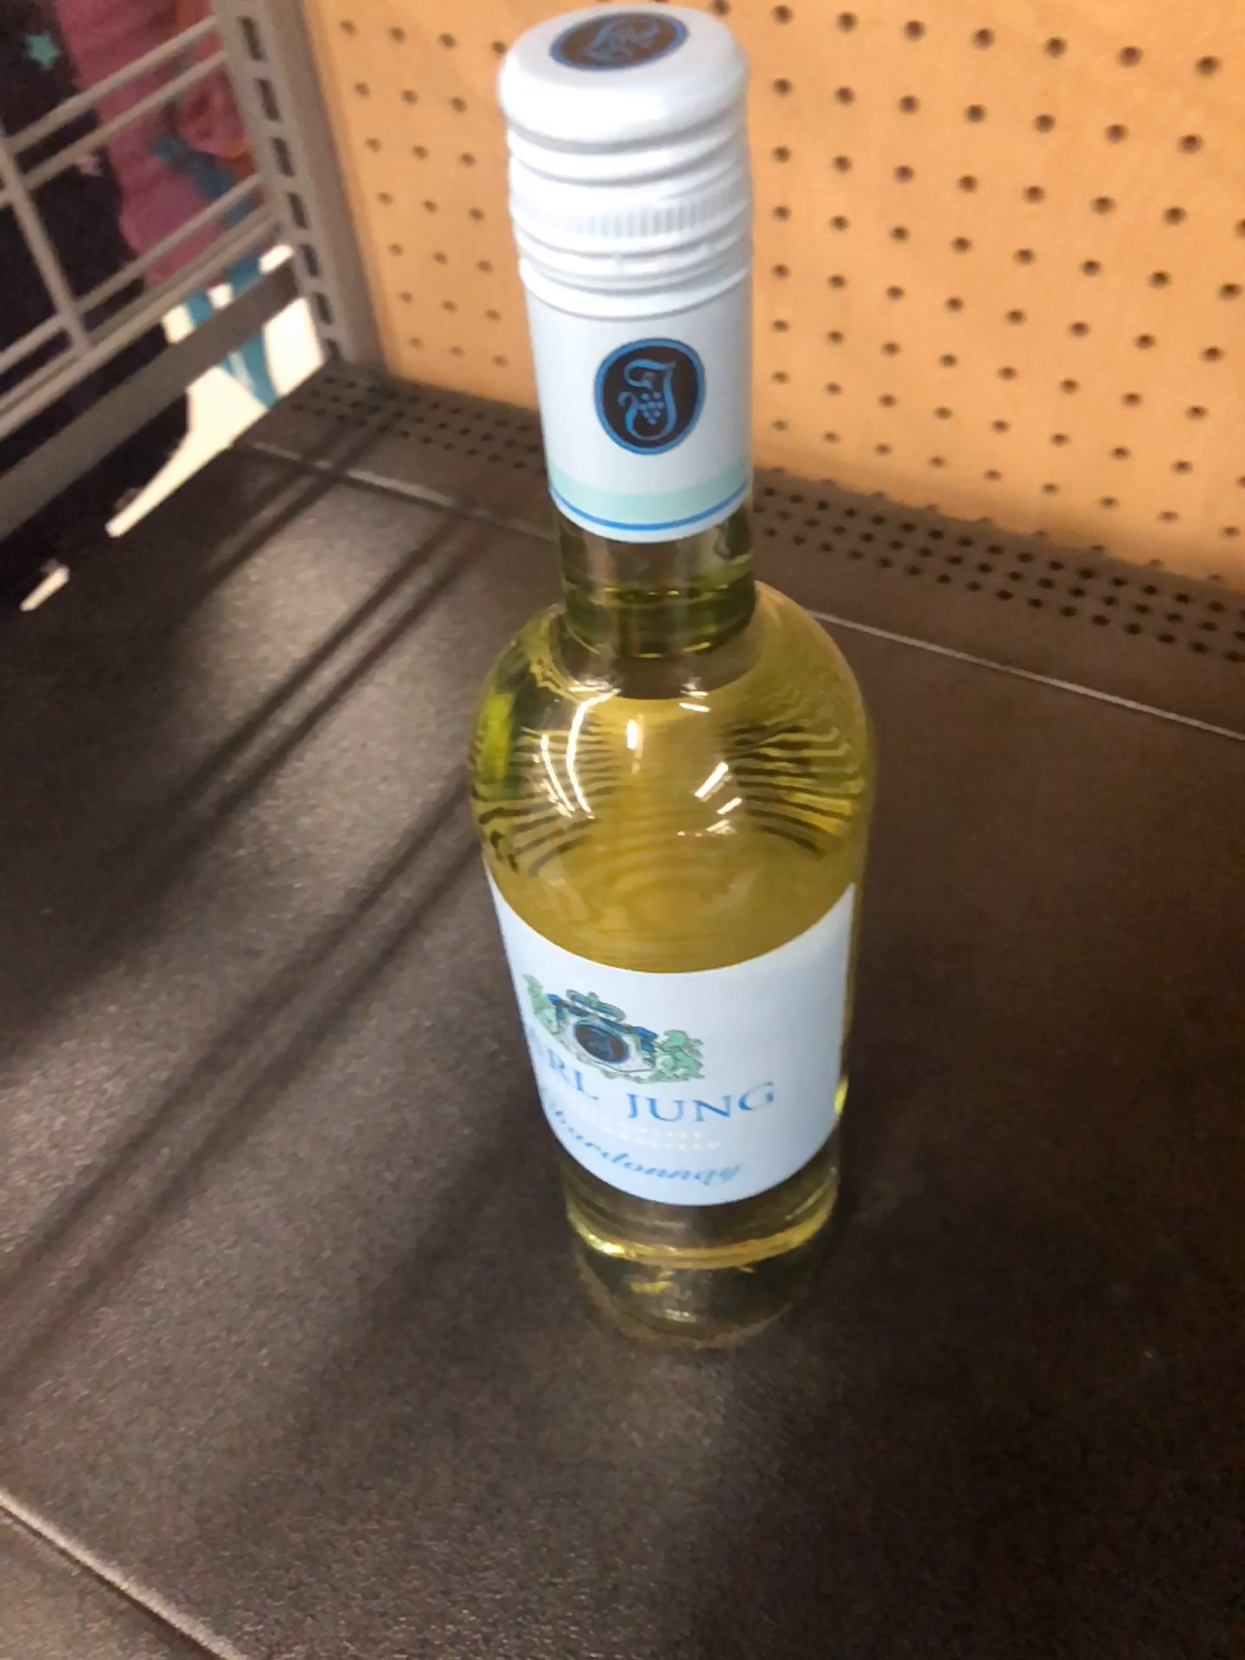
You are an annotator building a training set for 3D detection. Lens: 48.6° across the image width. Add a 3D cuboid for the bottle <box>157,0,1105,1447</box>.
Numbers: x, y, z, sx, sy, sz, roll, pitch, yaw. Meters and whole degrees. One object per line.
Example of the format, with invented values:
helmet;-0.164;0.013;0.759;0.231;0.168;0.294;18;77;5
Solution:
bottle;0.018;0.020;0.275;0.080;0.318;0.080;-3;50;4
